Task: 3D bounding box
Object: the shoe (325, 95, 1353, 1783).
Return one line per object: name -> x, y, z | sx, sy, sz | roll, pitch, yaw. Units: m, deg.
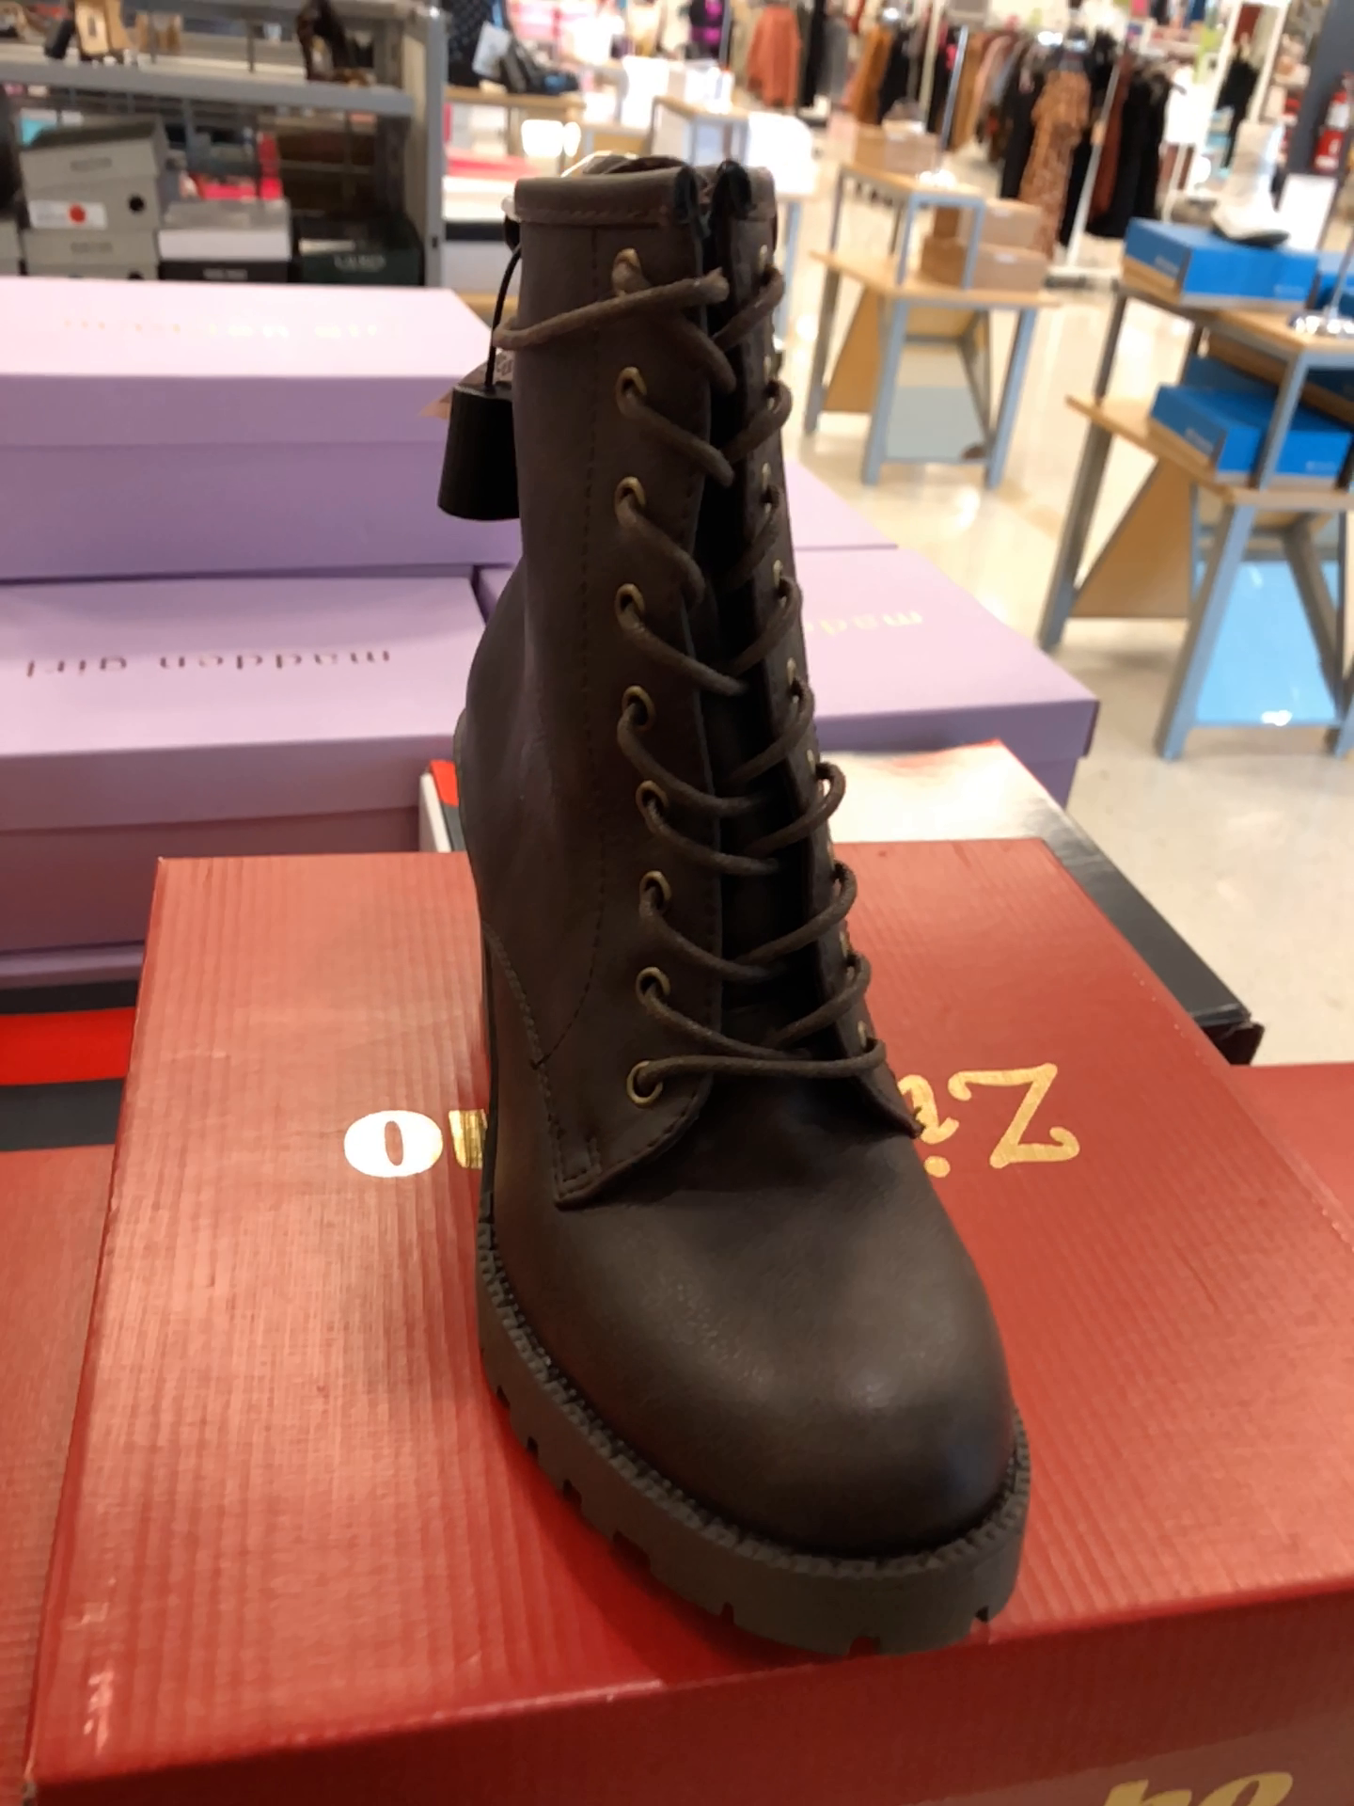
shoe -> -0.001, -0.020, 0.296 | 0.100, 0.218, 0.242 | -5, 33, -19
